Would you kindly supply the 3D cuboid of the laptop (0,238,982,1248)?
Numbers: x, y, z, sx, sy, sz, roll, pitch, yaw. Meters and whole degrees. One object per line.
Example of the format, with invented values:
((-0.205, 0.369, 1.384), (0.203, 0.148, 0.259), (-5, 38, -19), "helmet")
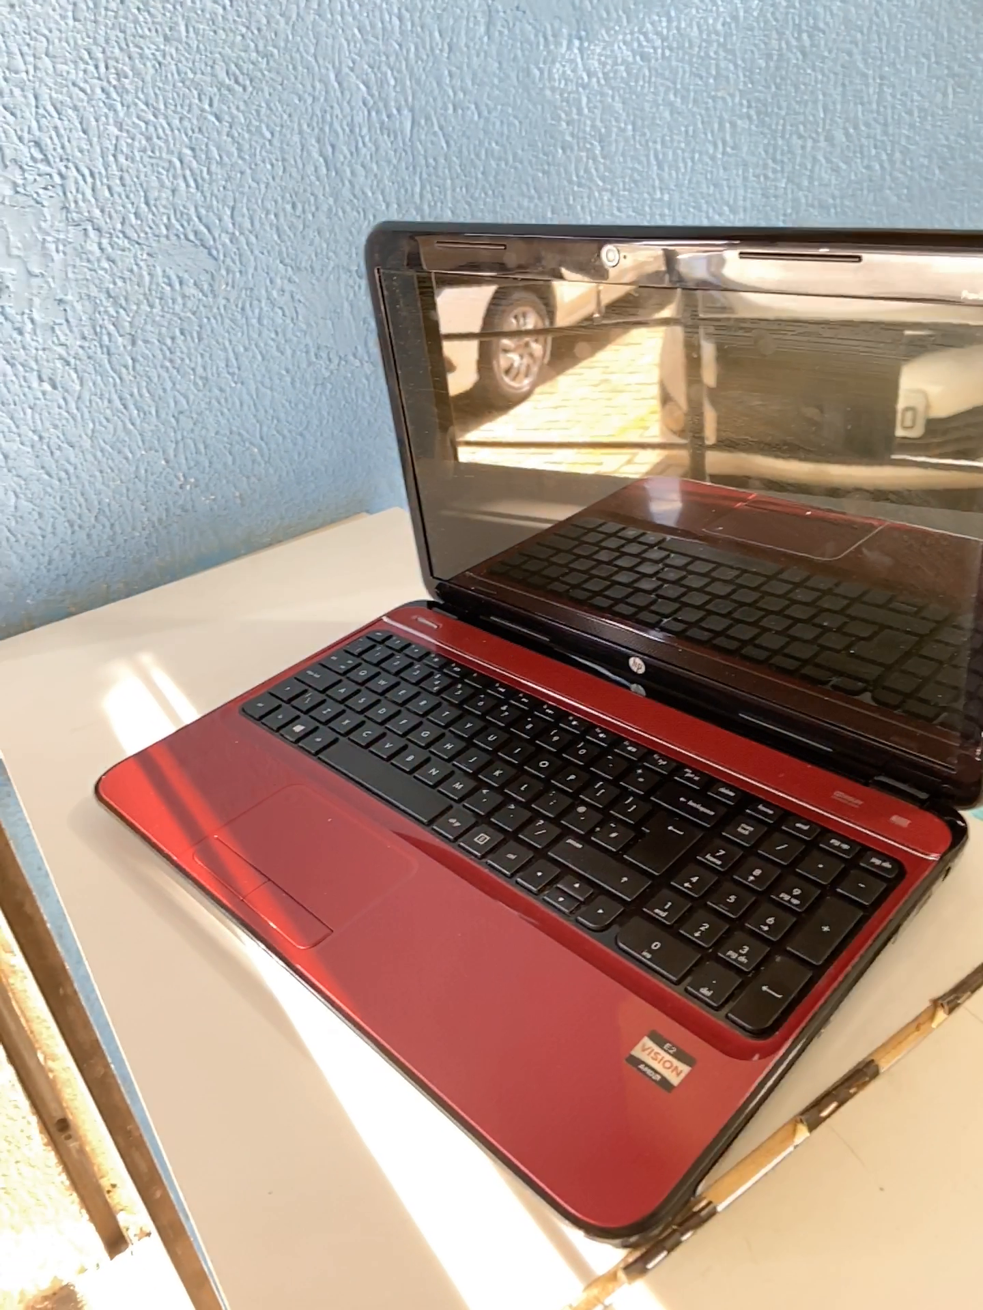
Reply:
((-0.023, -0.030, 0.415), (0.228, 0.221, 0.357), (-30, 36, -34), "laptop")
